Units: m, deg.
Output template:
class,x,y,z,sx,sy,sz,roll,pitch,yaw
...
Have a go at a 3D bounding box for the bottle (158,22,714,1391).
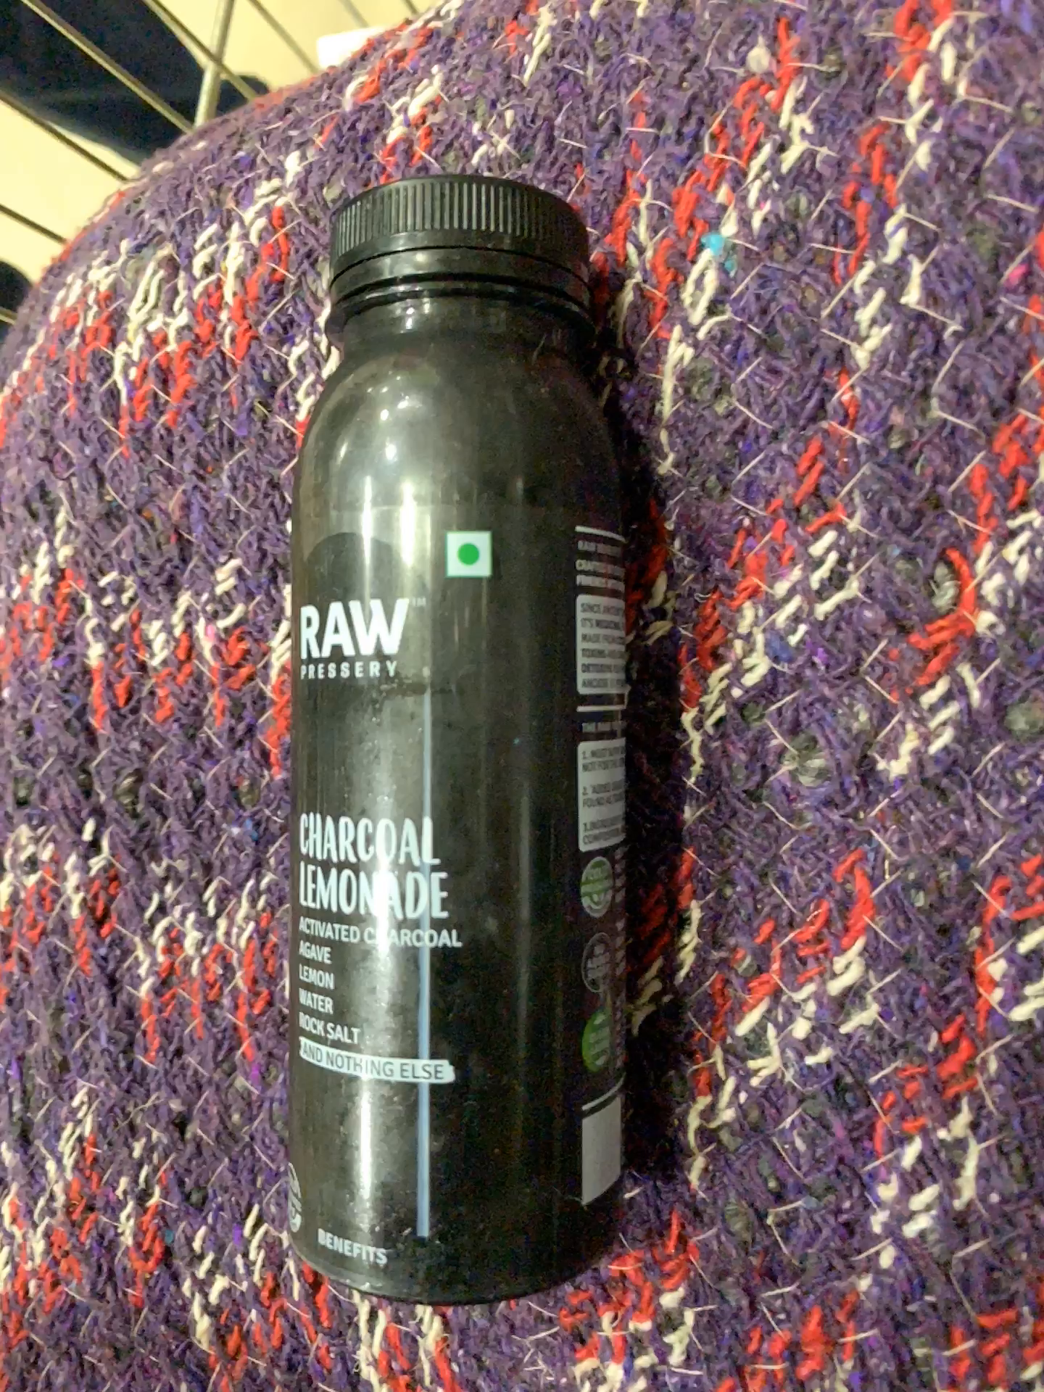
class,x,y,z,sx,sy,sz,roll,pitch,yaw
bottle,-0.009,0.006,0.157,0.060,0.050,0.160,2,94,28
